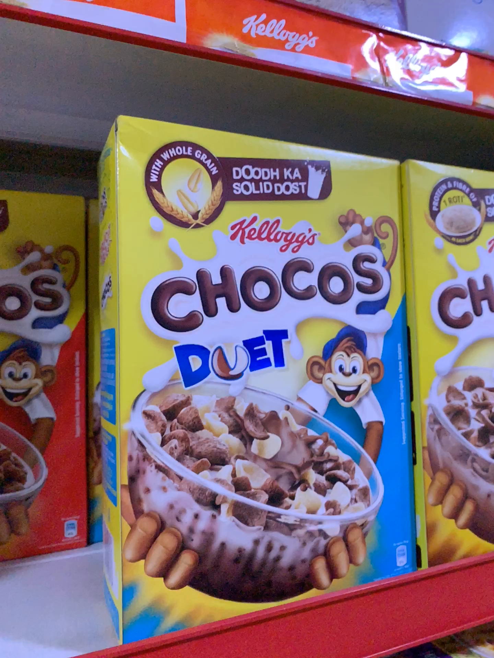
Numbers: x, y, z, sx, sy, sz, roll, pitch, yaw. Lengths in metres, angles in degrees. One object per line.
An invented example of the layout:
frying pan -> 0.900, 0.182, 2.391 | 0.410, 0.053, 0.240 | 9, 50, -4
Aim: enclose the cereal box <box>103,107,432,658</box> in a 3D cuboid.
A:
cereal box -> 0.012, 0.024, 0.292 | 0.170, 0.250, 0.060 | 0, -3, -24
